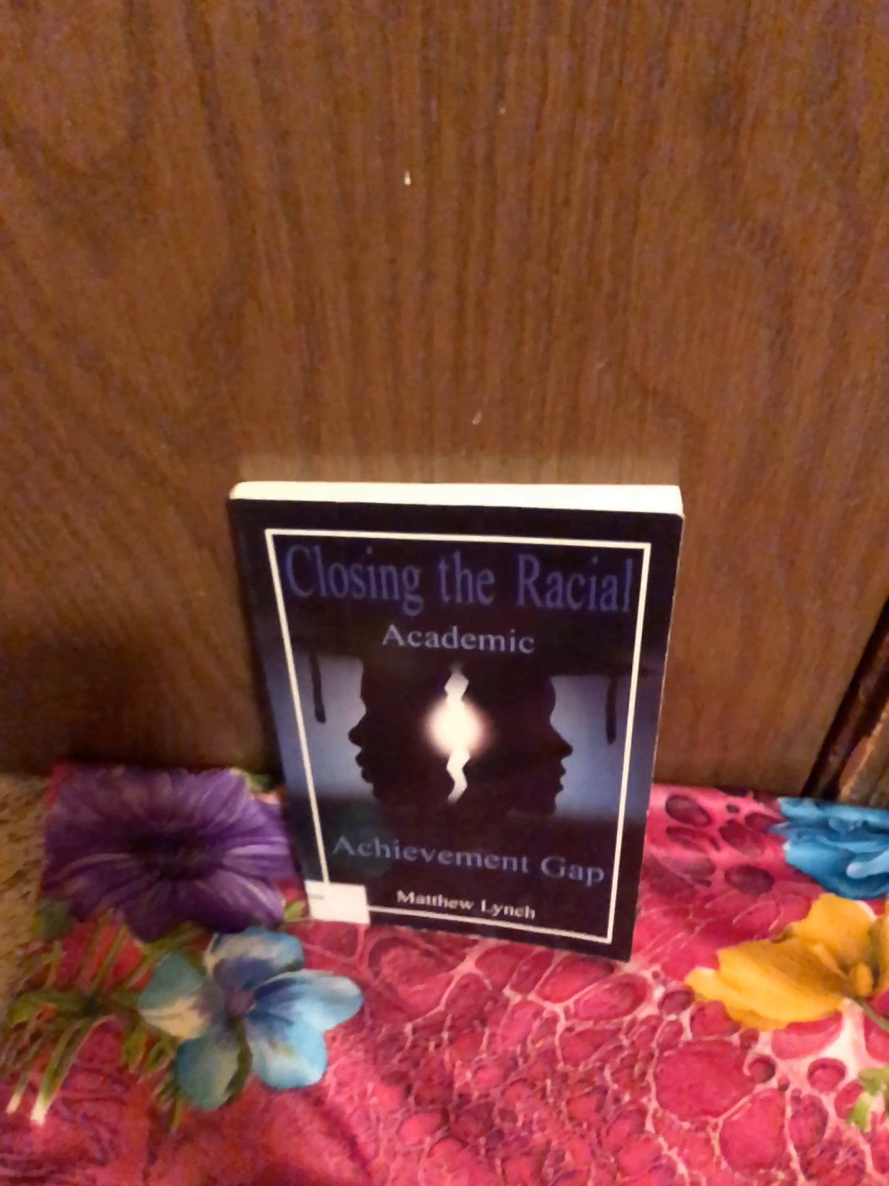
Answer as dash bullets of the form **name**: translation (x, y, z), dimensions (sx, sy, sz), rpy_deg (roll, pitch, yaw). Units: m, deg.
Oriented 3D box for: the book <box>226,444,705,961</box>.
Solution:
- **book**: translation (0.011, 0.055, 0.379), dimensions (0.146, 0.230, 0.036), rpy_deg (3, 38, 8)
